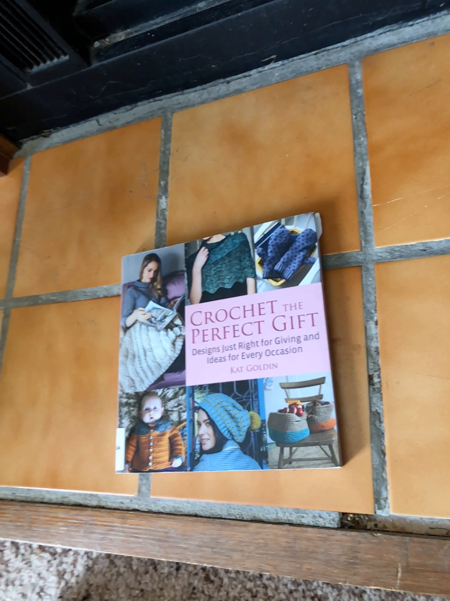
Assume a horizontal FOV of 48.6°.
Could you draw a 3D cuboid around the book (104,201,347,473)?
[{"bbox_3d":[-0.012,0.037,0.457,0.218,0.020,0.221,-10,71,22],"label":"book"}]
